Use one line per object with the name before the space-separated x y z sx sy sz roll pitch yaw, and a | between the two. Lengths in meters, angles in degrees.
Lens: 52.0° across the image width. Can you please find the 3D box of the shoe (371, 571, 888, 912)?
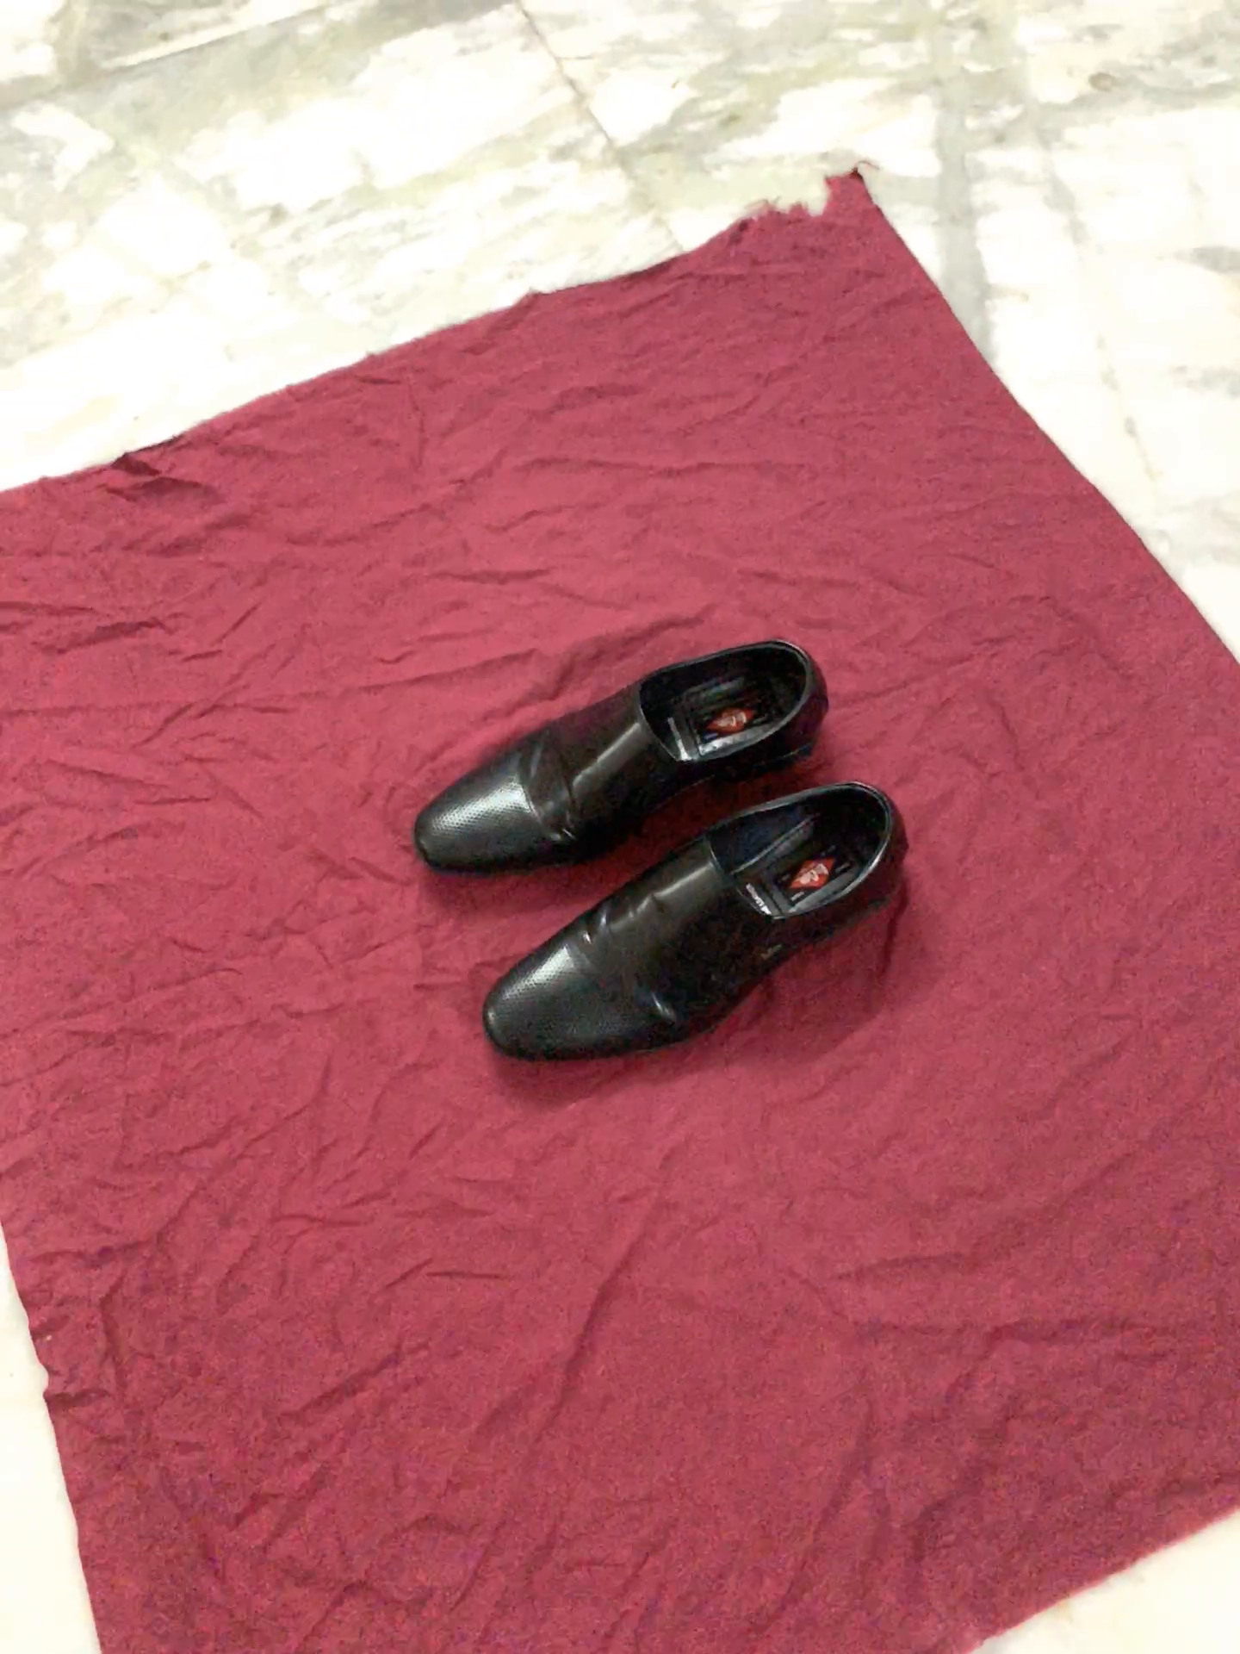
shoe | 0.007 -0.054 0.823 0.300 0.100 0.100 -18 67 -6

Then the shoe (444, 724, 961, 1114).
shoe | 0.051 0.058 0.791 0.290 0.100 0.100 -25 68 -9
